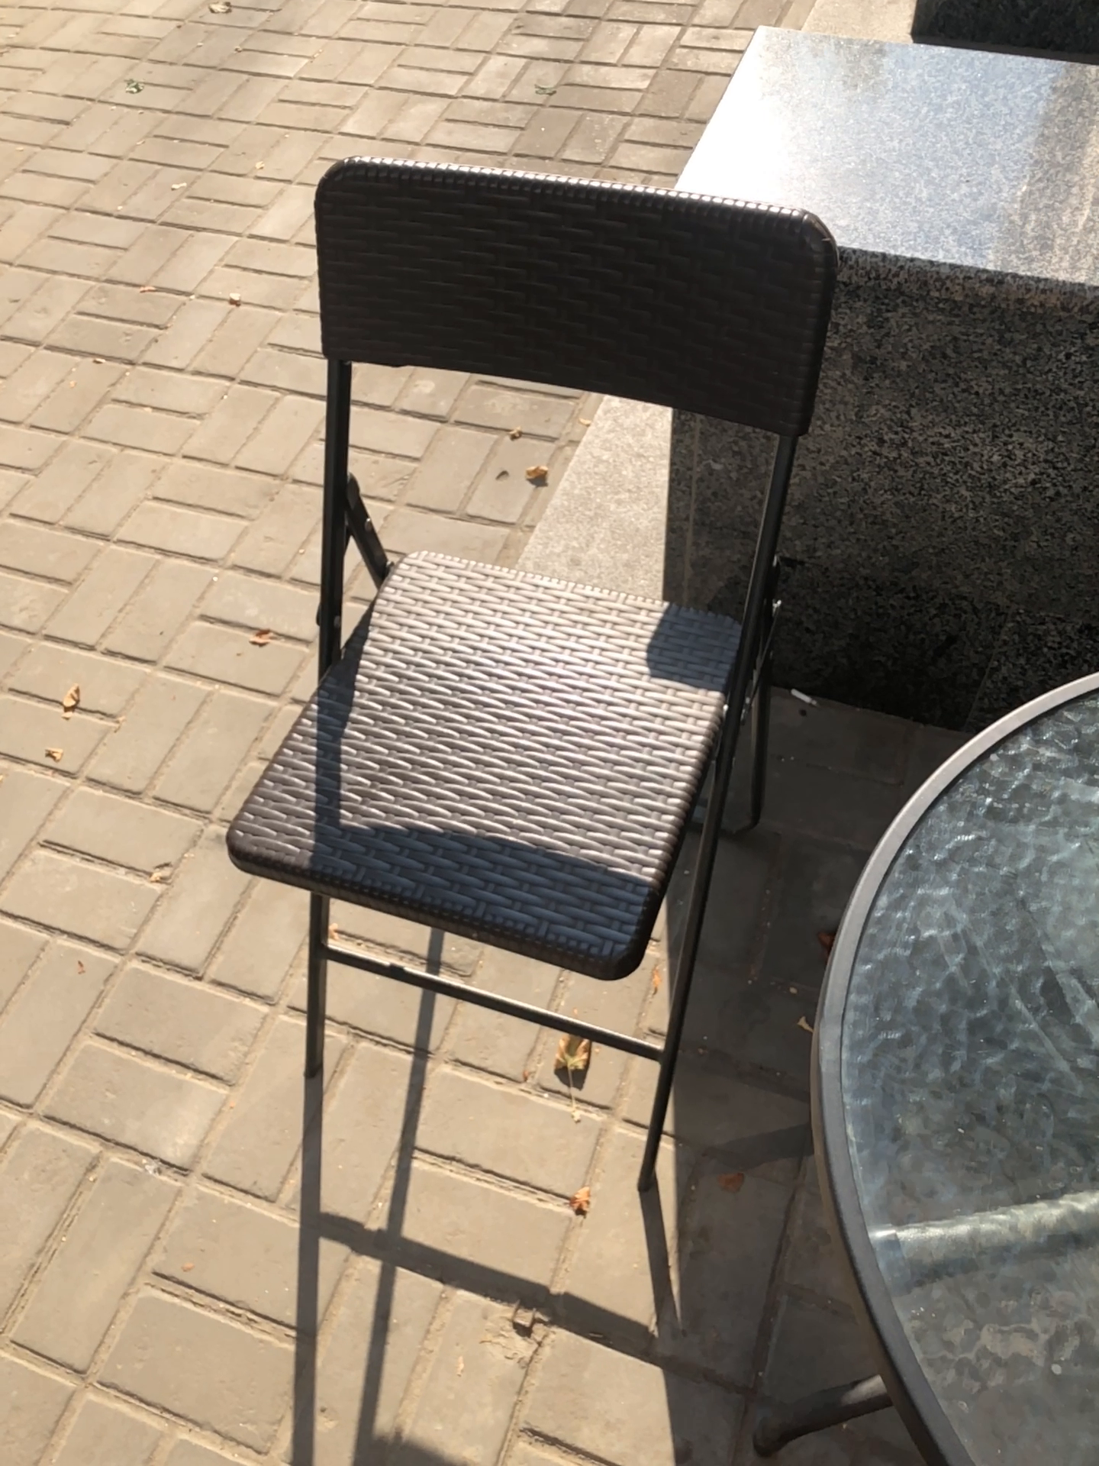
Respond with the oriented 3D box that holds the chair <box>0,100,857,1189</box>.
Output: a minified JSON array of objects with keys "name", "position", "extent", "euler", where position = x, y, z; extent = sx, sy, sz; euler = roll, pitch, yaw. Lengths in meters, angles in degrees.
[{"name":"chair","position":[-0.053,-0.012,1.045],"extent":[0.430,0.788,0.461],"euler":[13,56,12]}]
